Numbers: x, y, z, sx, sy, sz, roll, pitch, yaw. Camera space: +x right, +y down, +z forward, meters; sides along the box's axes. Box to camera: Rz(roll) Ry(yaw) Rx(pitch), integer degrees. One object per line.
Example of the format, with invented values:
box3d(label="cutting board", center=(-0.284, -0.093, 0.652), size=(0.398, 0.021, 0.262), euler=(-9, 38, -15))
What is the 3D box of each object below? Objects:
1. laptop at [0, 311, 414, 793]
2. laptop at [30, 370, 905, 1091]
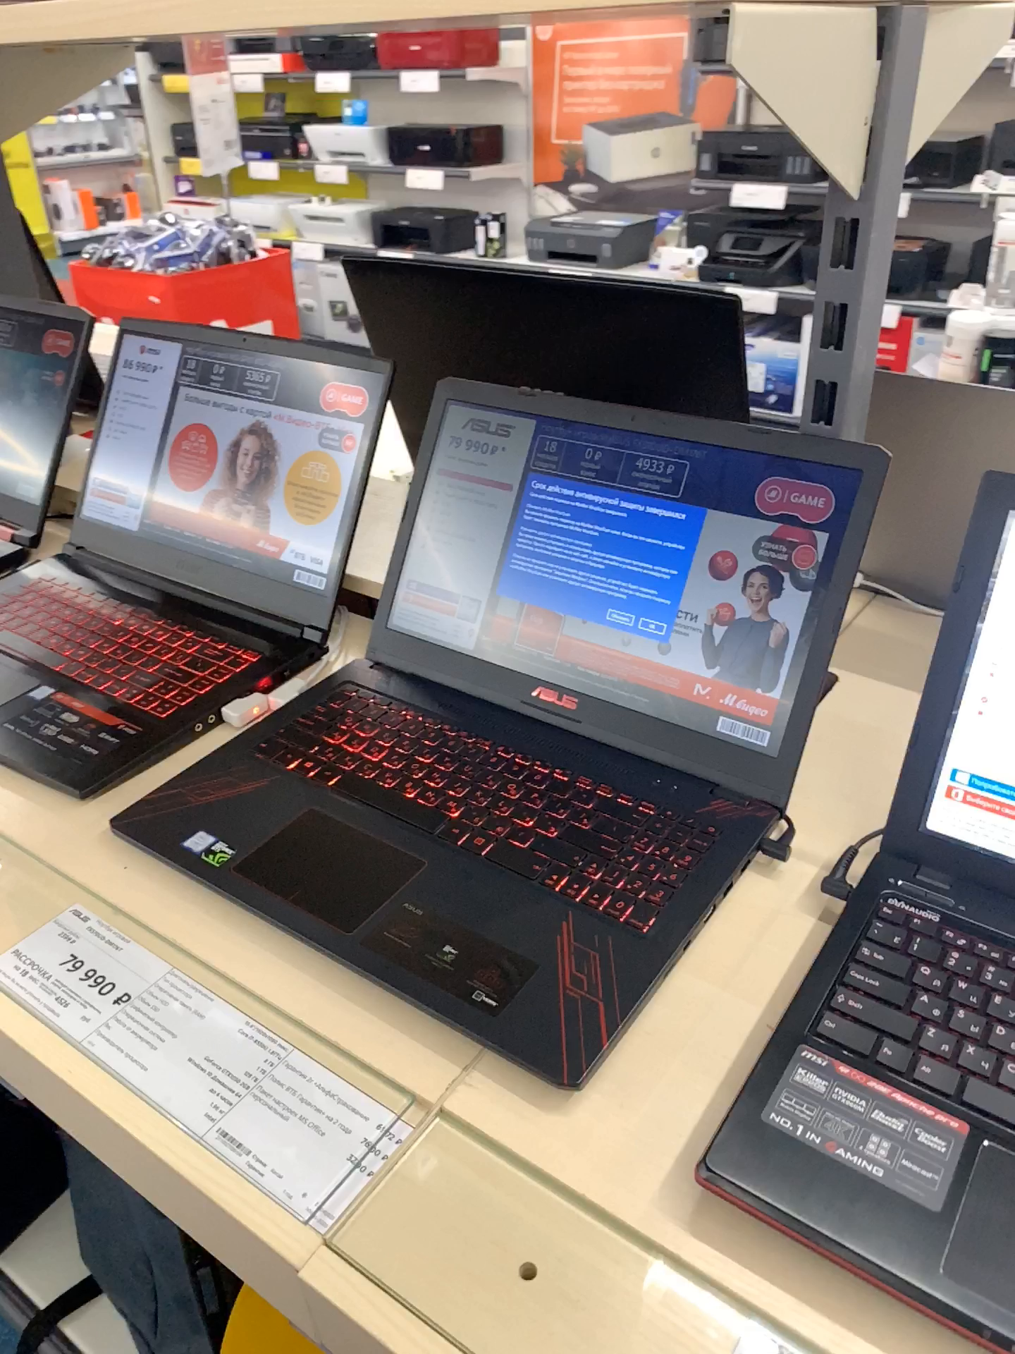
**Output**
box3d(label="laptop", center=(-0.333, -0.138, 0.863), size=(0.339, 0.209, 0.354), euler=(19, 38, 30))
box3d(label="laptop", center=(-0.008, -0.027, 0.668), size=(0.365, 0.199, 0.383), euler=(18, 38, 32))
